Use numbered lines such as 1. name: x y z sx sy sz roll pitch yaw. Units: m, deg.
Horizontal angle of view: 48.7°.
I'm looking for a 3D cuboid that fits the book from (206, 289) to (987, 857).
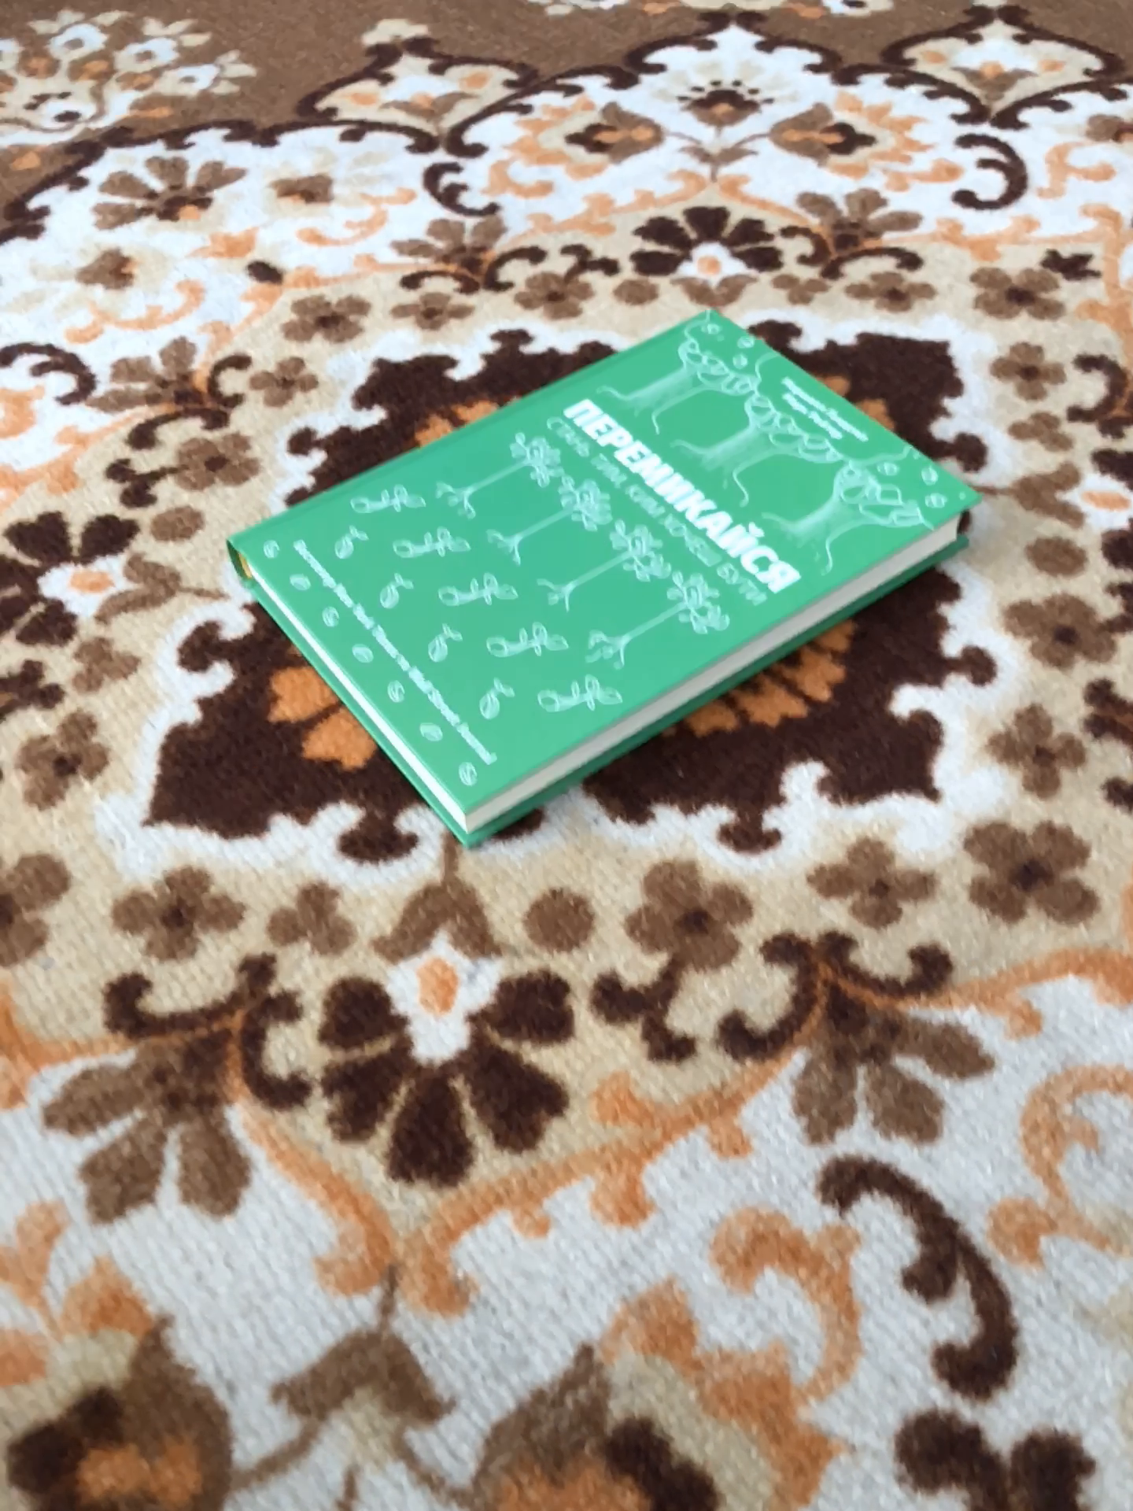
1. book: 0.010 -0.072 0.400 0.202 0.023 0.138 -31 58 -20
